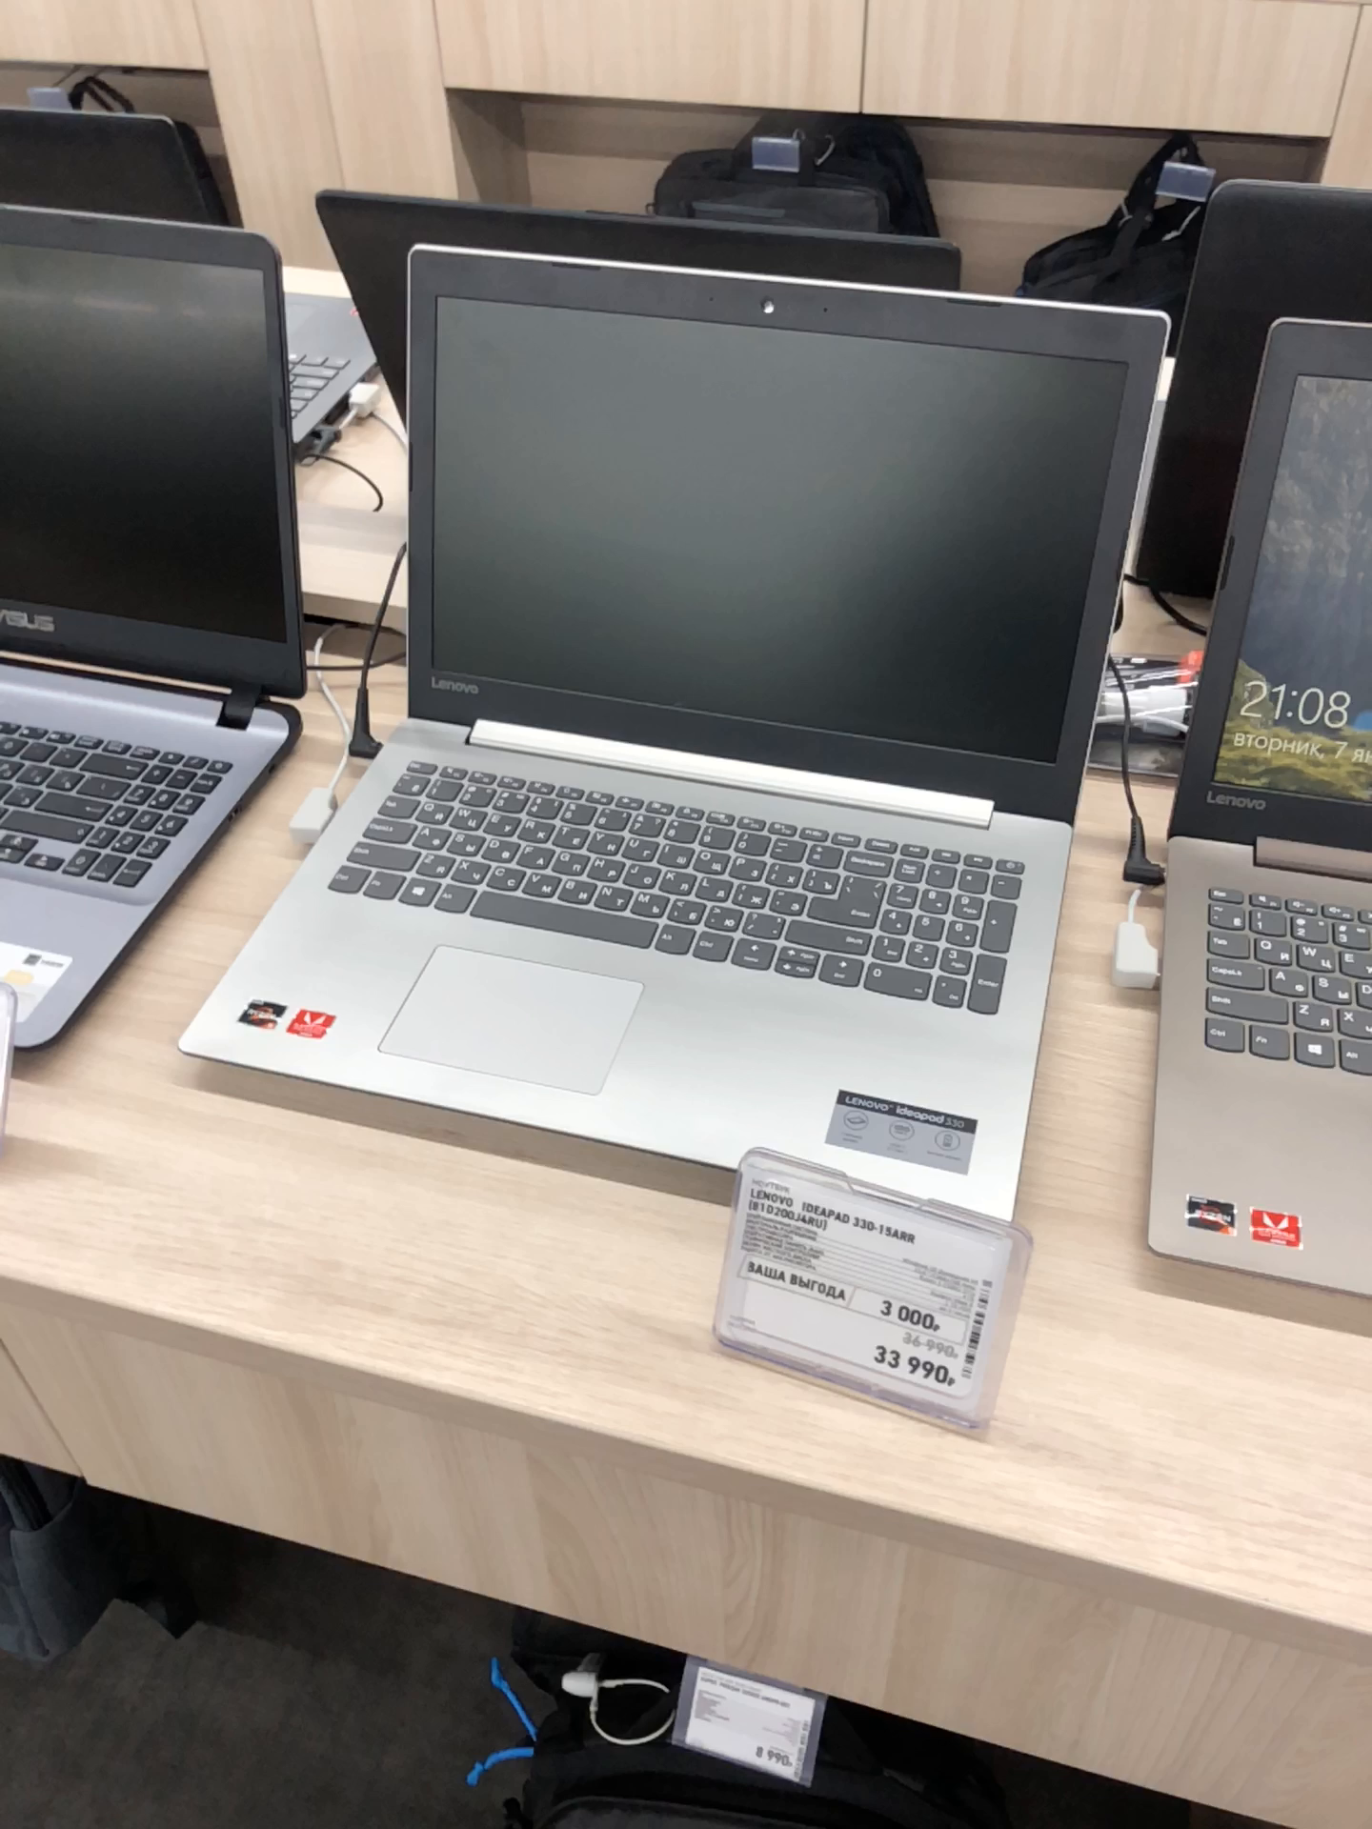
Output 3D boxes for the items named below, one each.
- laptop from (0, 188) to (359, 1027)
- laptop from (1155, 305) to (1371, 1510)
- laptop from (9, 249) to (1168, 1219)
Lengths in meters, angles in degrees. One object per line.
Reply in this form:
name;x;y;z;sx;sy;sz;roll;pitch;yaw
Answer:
laptop;-0.407;-0.167;0.734;0.326;0.232;0.320;11;45;13
laptop;0.393;-0.035;0.576;0.357;0.222;0.328;9;45;11
laptop;-0.006;-0.105;0.668;0.365;0.220;0.337;10;45;13
